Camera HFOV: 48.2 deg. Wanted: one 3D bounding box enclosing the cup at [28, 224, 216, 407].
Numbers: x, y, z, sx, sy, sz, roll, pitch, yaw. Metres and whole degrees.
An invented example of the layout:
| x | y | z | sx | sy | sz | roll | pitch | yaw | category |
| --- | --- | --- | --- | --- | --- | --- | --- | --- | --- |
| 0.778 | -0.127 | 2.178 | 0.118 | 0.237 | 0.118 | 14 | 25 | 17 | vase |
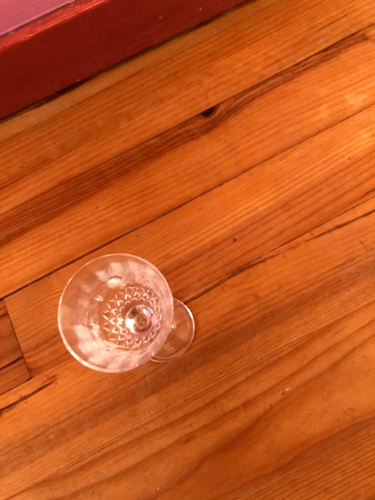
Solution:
| x | y | z | sx | sy | sz | roll | pitch | yaw | category |
| --- | --- | --- | --- | --- | --- | --- | --- | --- | --- |
| -0.025 | 0.045 | 0.252 | 0.058 | 0.133 | 0.060 | -1 | 74 | 5 | cup |
